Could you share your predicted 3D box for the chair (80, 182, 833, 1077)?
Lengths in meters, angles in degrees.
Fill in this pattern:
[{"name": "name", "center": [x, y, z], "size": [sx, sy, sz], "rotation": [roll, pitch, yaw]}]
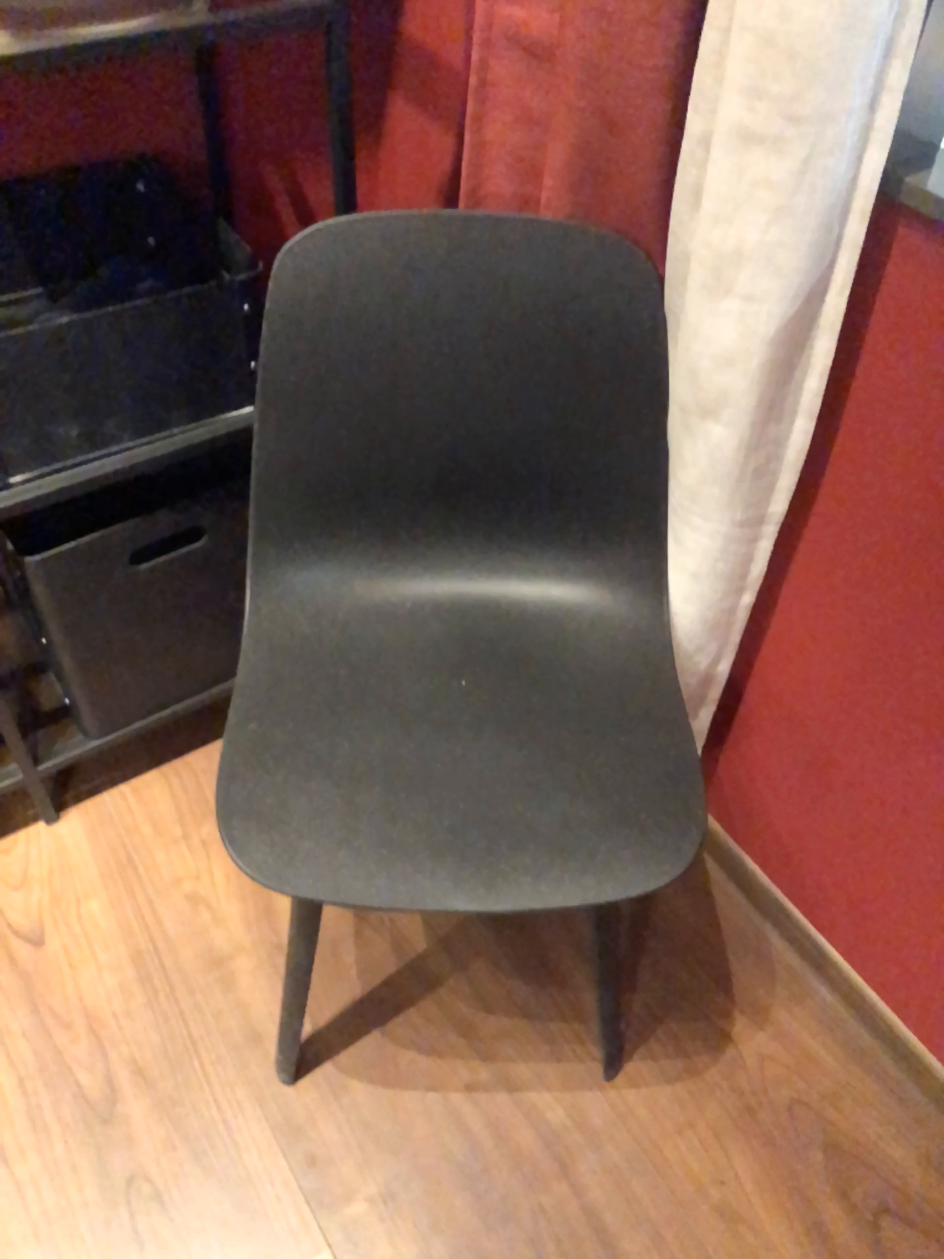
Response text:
[{"name": "chair", "center": [-0.028, 0.048, 0.995], "size": [0.410, 0.726, 0.483], "rotation": [1, 47, -3]}]
